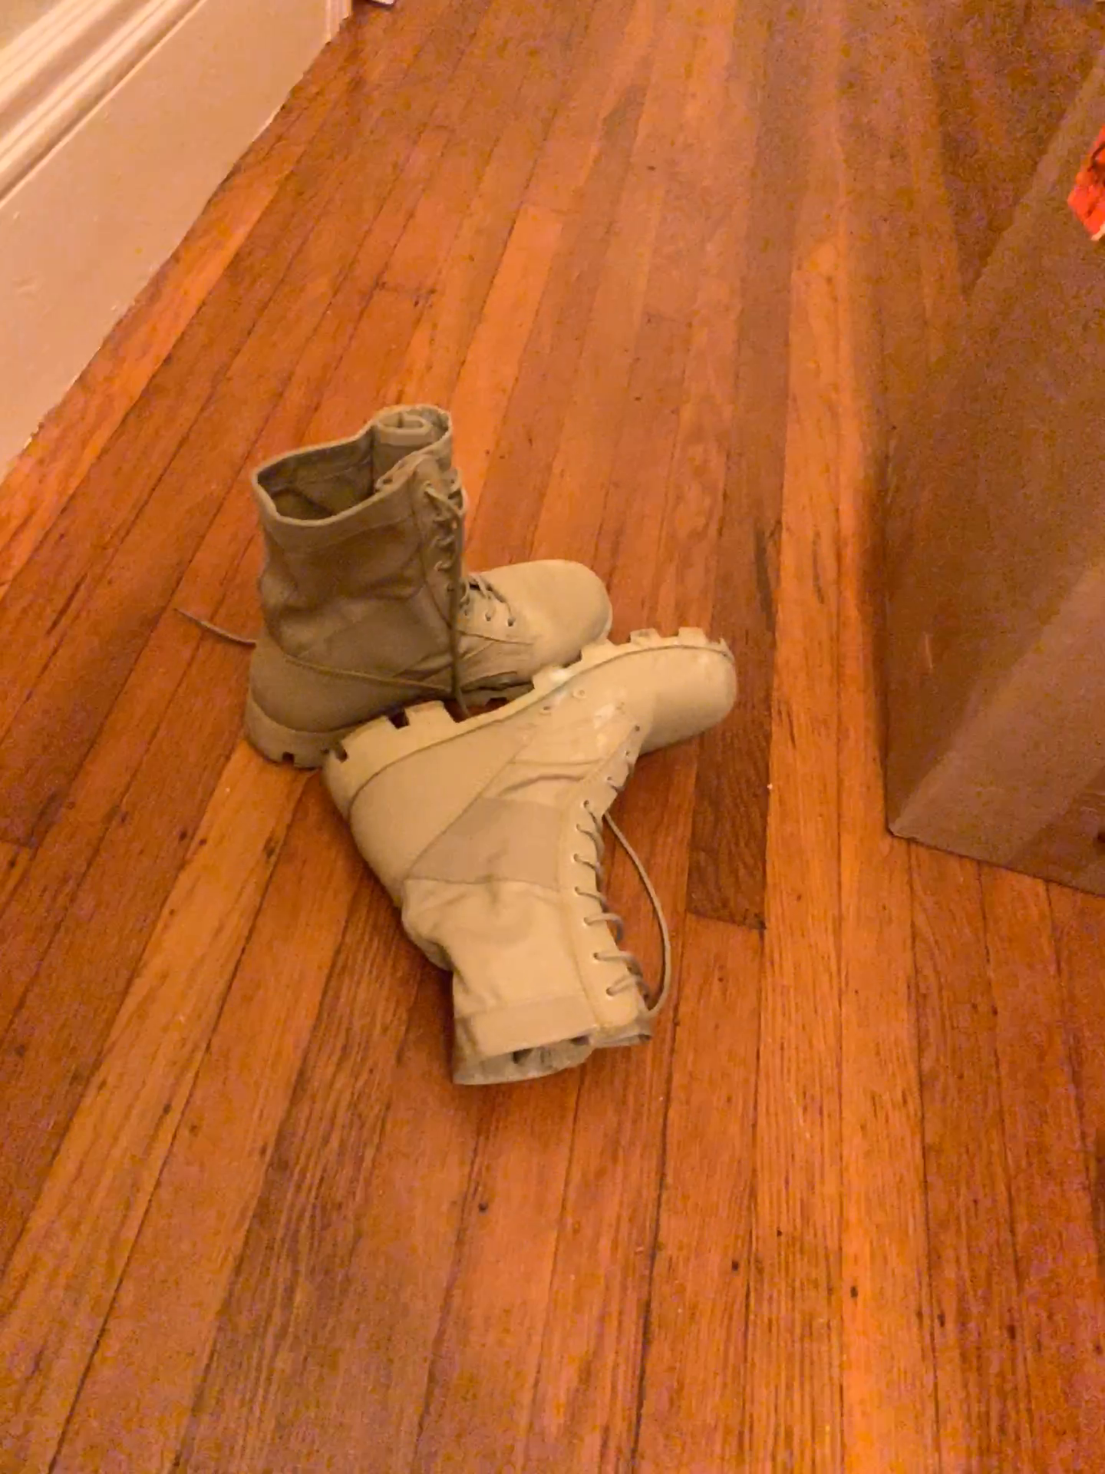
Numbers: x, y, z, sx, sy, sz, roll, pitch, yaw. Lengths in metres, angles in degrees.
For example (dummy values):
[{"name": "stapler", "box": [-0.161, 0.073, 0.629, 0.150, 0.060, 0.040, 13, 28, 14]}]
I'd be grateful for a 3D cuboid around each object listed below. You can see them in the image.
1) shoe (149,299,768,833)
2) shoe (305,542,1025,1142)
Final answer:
[{"name": "shoe", "box": [-0.067, -0.116, 0.716, 0.300, 0.199, 0.191, -19, 60, -25]}, {"name": "shoe", "box": [0.050, 0.036, 0.650, 0.310, 0.119, 0.251, -16, 51, -24]}]
